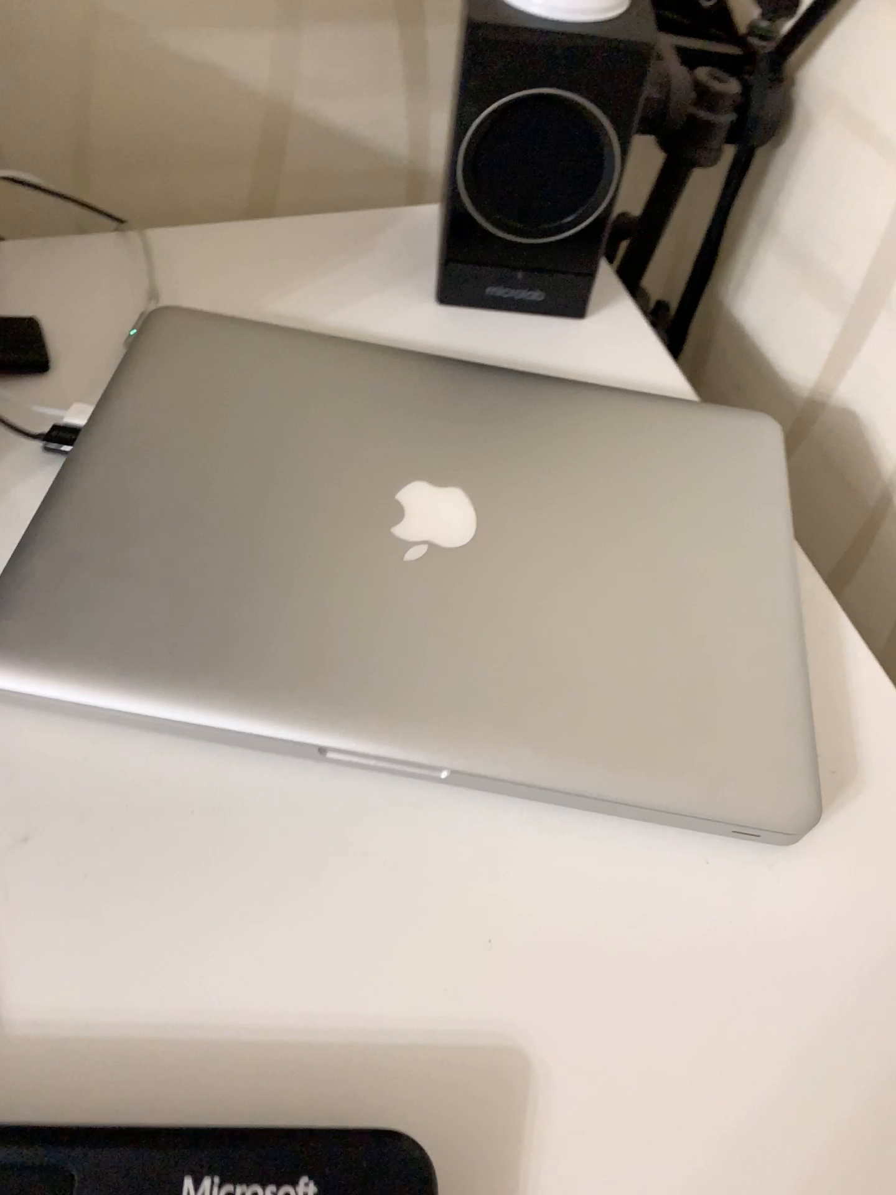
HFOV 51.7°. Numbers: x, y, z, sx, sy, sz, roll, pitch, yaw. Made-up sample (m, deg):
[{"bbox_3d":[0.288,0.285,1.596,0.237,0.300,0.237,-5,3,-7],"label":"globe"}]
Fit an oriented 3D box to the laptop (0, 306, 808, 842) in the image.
[{"bbox_3d":[-0.005,-0.027,0.398,0.305,0.007,0.219,11,54,-1],"label":"laptop"}]
